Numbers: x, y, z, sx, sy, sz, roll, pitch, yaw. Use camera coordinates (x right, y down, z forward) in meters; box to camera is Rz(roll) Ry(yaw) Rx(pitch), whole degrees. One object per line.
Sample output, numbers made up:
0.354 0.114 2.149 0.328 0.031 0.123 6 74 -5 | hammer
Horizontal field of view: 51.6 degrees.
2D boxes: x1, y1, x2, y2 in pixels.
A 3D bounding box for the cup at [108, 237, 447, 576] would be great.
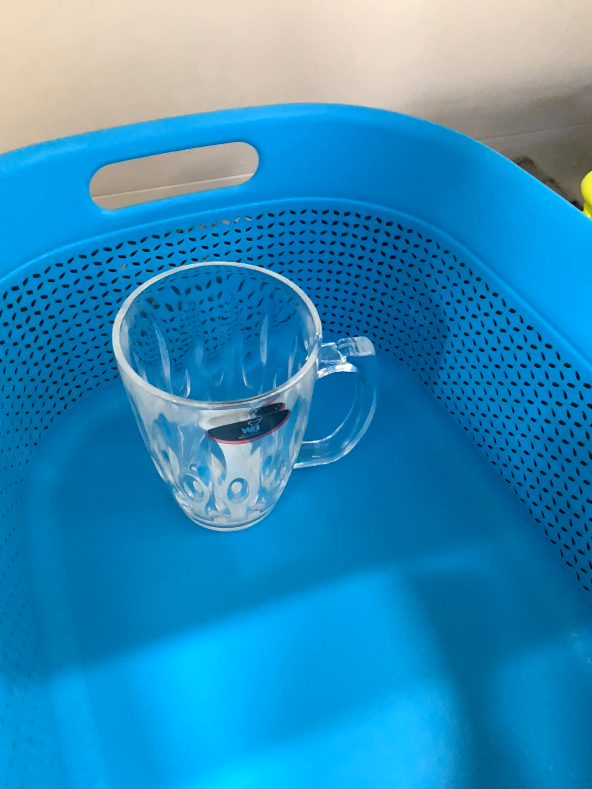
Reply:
-0.013 0.007 0.270 0.110 0.109 0.081 -11 51 -12 | cup
